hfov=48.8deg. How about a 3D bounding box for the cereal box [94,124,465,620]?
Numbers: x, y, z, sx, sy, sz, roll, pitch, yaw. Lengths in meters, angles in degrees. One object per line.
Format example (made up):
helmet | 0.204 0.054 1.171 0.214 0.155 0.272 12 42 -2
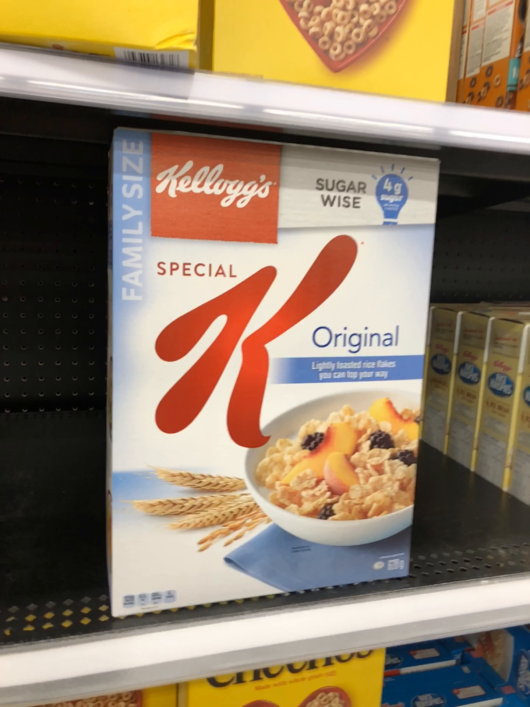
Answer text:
cereal box | 0.003 0.015 0.456 0.260 0.329 0.080 0 10 -18
